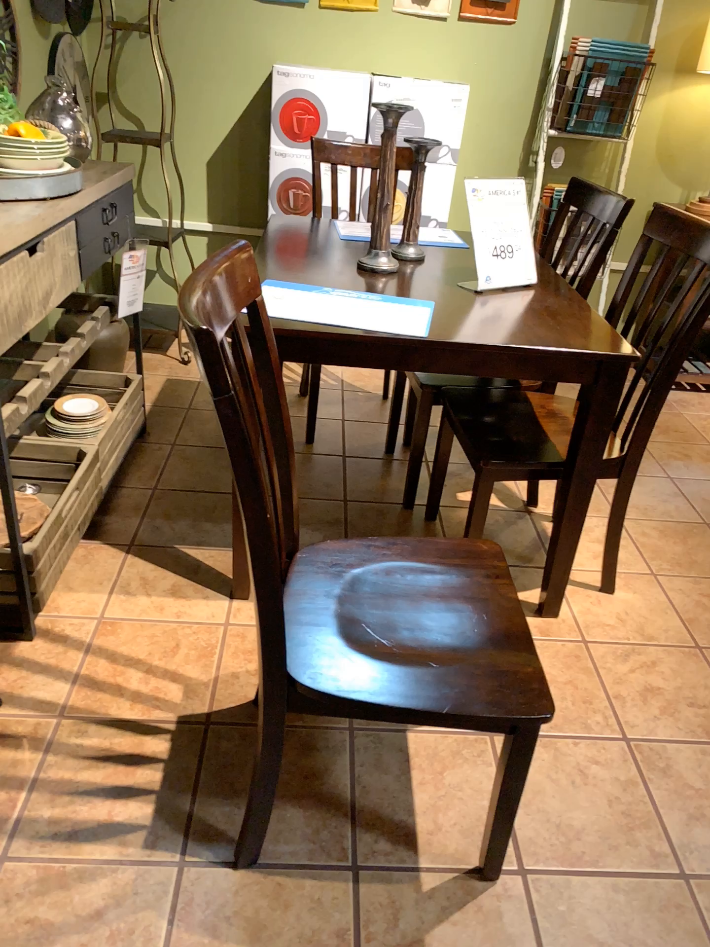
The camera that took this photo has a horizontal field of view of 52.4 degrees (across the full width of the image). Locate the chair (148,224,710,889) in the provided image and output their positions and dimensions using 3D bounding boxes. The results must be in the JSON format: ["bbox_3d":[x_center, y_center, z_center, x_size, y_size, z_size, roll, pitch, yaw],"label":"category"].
[{"bbox_3d":[0.034,0.157,1.161,0.584,0.936,0.463,4,30,-4],"label":"chair"}]

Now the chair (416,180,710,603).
[{"bbox_3d":[0.551,-0.192,1.862,0.574,0.946,0.463,1,30,-10],"label":"chair"}]
